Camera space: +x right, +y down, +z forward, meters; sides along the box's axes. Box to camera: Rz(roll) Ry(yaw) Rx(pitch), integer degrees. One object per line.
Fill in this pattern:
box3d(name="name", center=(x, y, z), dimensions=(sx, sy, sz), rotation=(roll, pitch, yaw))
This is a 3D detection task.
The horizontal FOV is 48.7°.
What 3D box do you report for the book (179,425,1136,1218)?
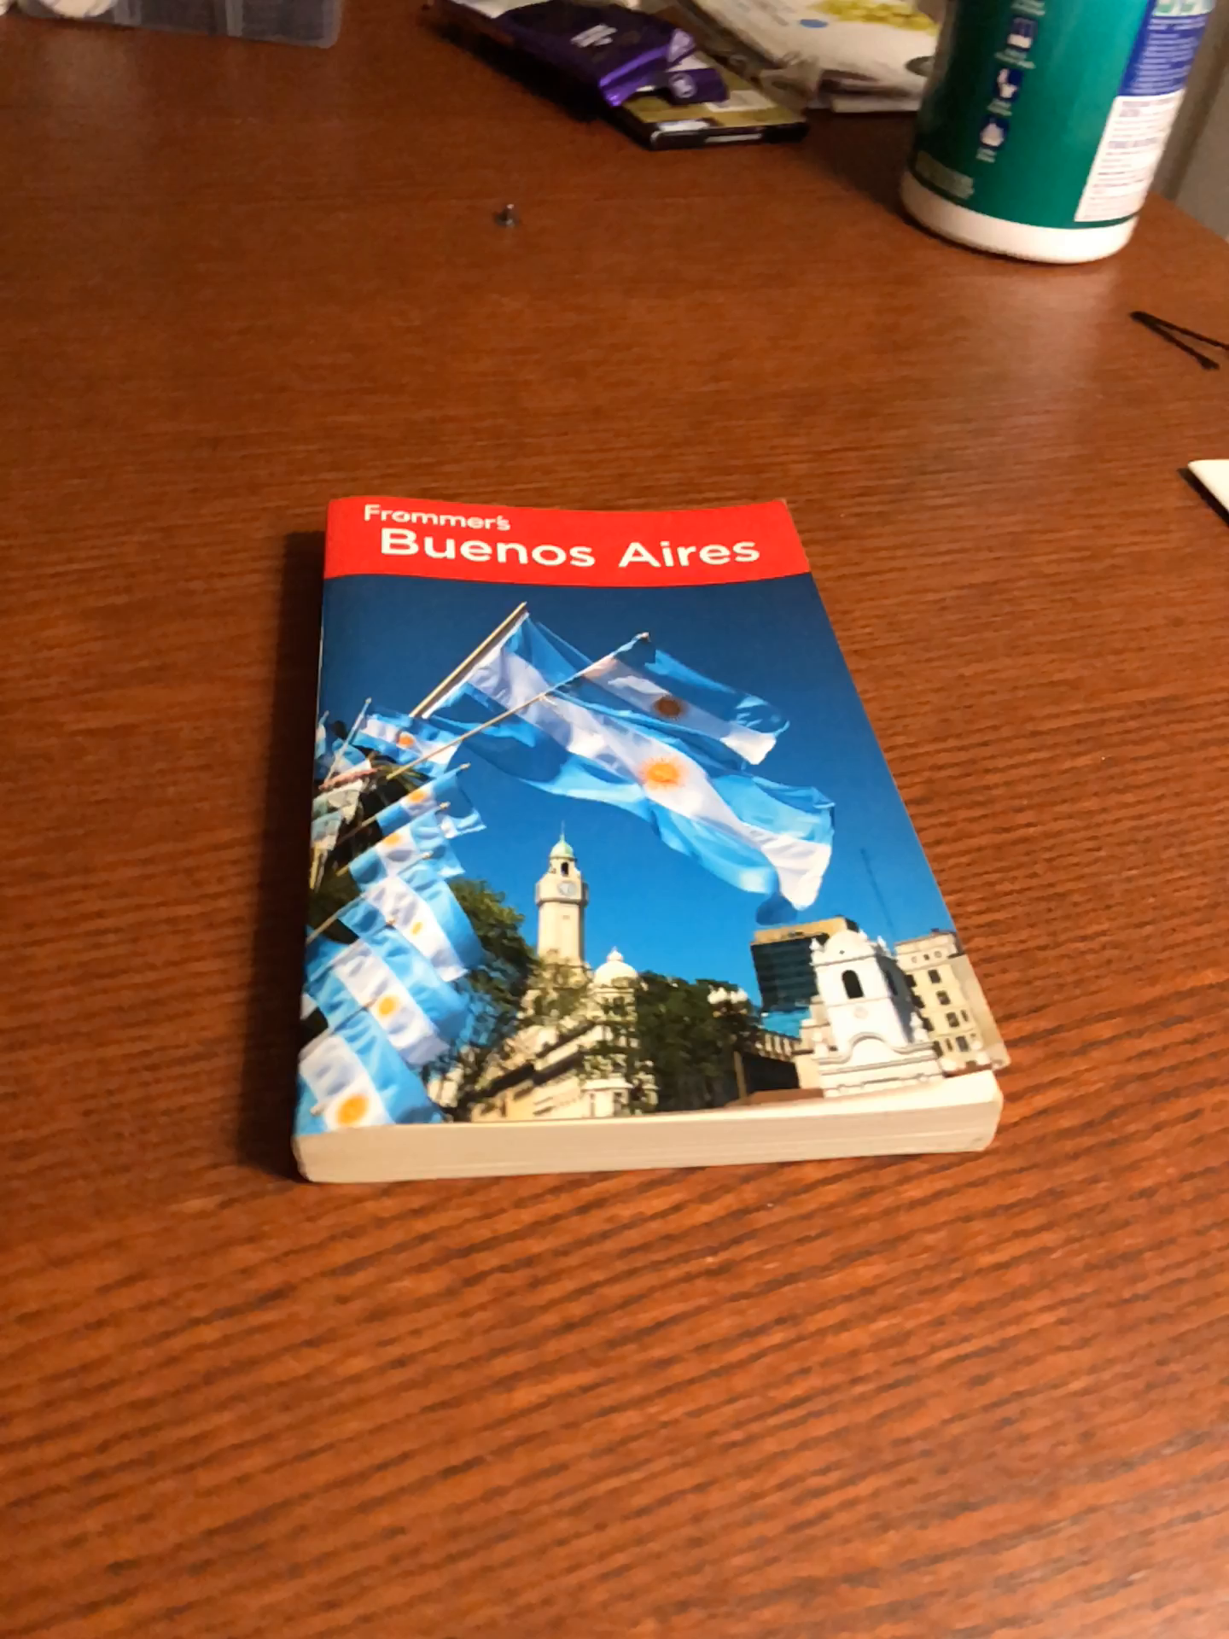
box3d(name="book", center=(-0.005, -0.022, 0.306), dimensions=(0.160, 0.020, 0.221), rotation=(-1, 45, -11))
